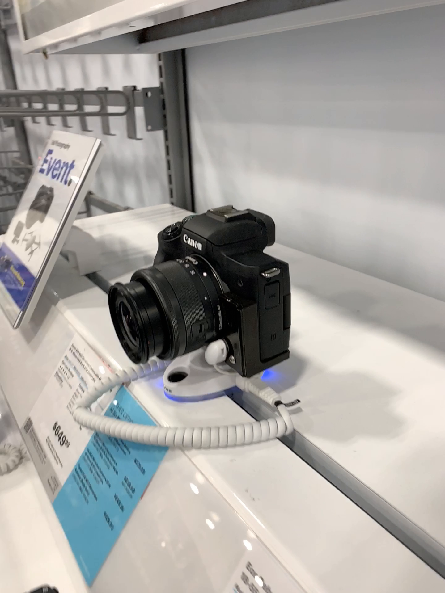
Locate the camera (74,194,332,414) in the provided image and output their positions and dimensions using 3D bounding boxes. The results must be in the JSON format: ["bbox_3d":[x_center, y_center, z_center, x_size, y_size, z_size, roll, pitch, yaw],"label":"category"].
[{"bbox_3d":[-0.017,-0.010,0.305,0.110,0.080,0.131,-17,28,-30],"label":"camera"}]
